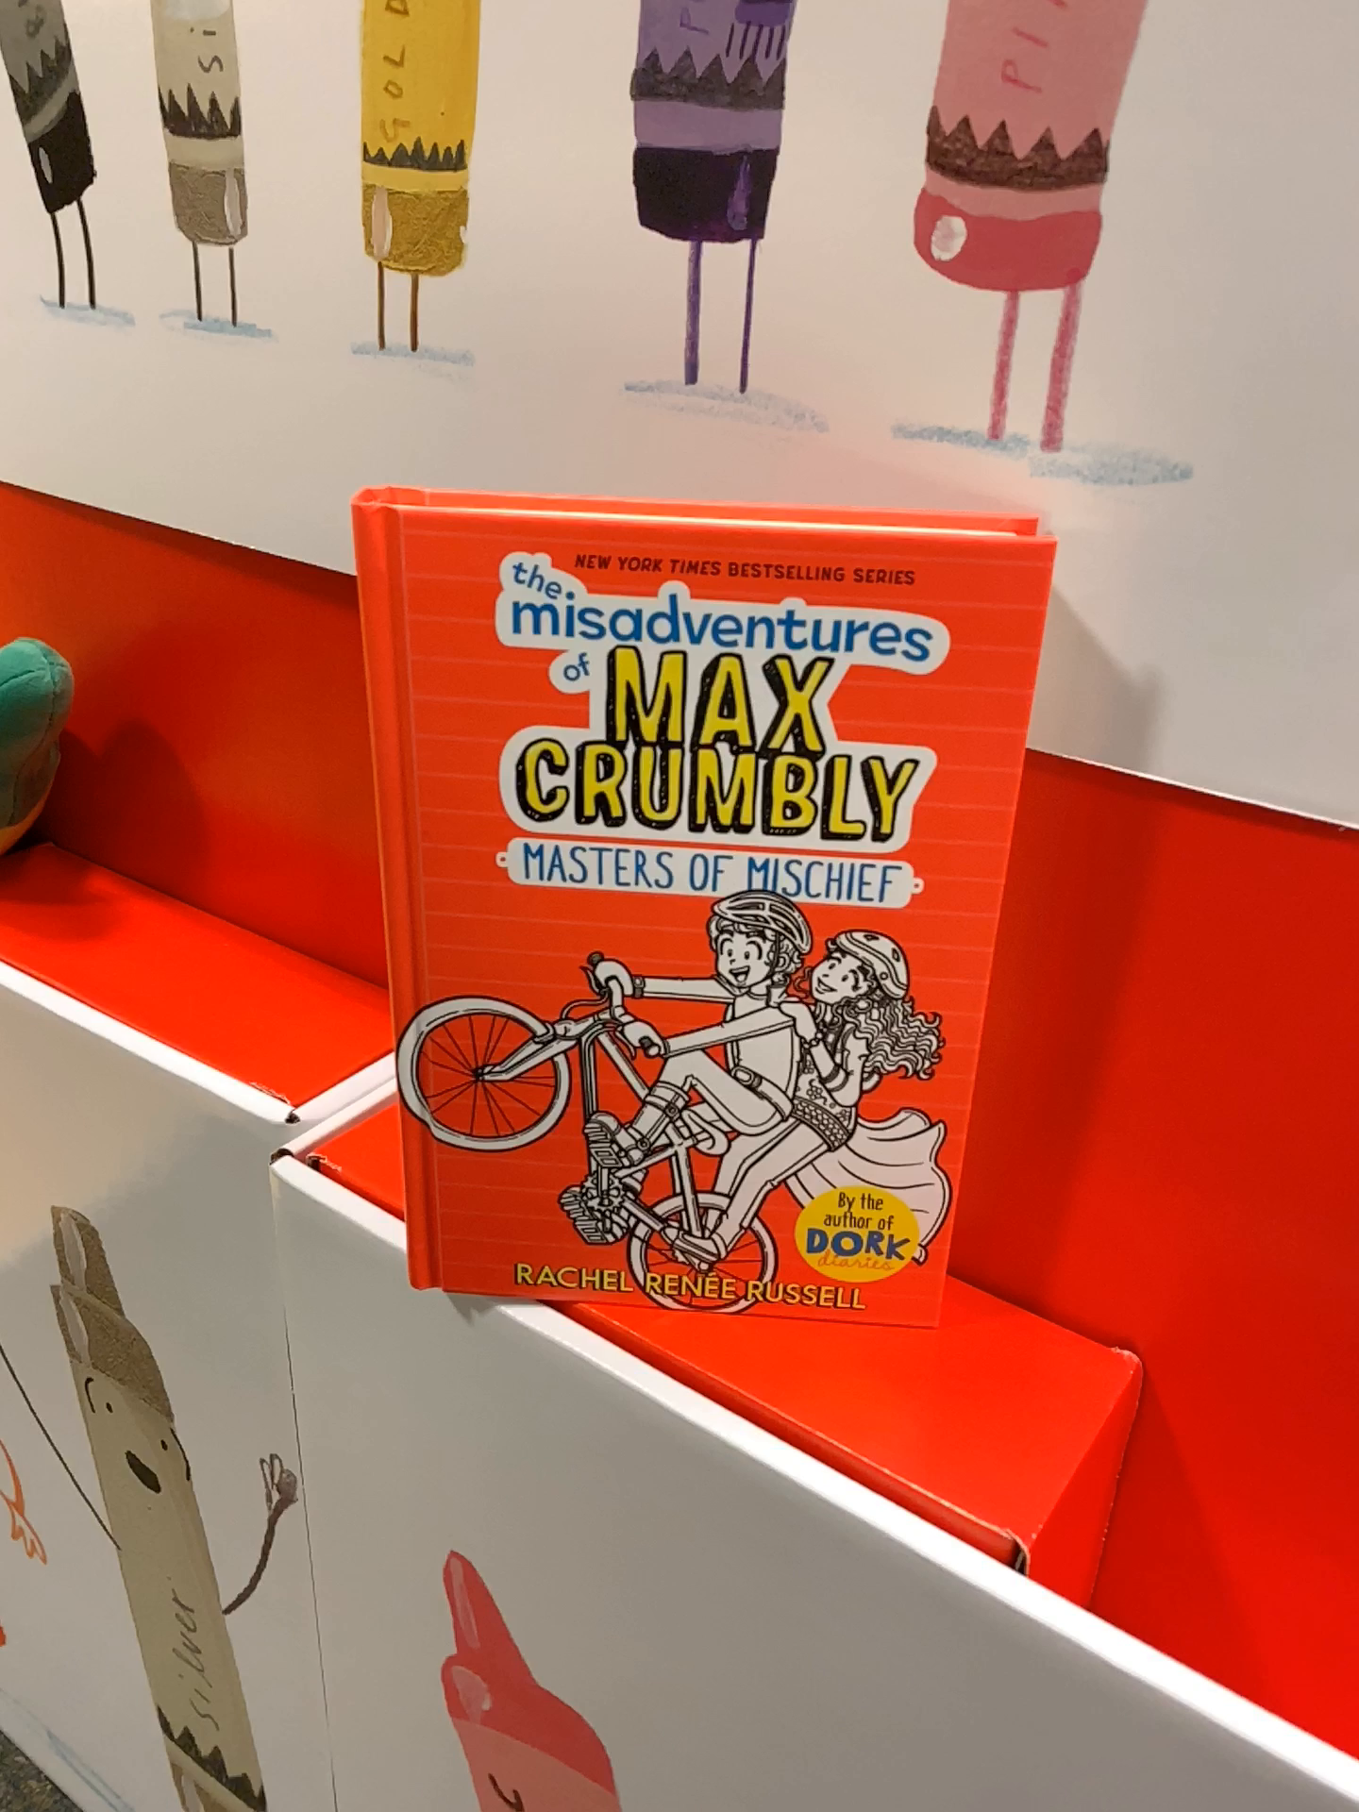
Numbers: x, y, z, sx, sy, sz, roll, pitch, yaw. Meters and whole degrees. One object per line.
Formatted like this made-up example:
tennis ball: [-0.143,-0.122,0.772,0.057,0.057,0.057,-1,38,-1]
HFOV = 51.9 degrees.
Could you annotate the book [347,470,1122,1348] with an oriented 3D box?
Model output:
book: [0.005,0.012,0.316,0.142,0.201,0.031,3,28,-1]
